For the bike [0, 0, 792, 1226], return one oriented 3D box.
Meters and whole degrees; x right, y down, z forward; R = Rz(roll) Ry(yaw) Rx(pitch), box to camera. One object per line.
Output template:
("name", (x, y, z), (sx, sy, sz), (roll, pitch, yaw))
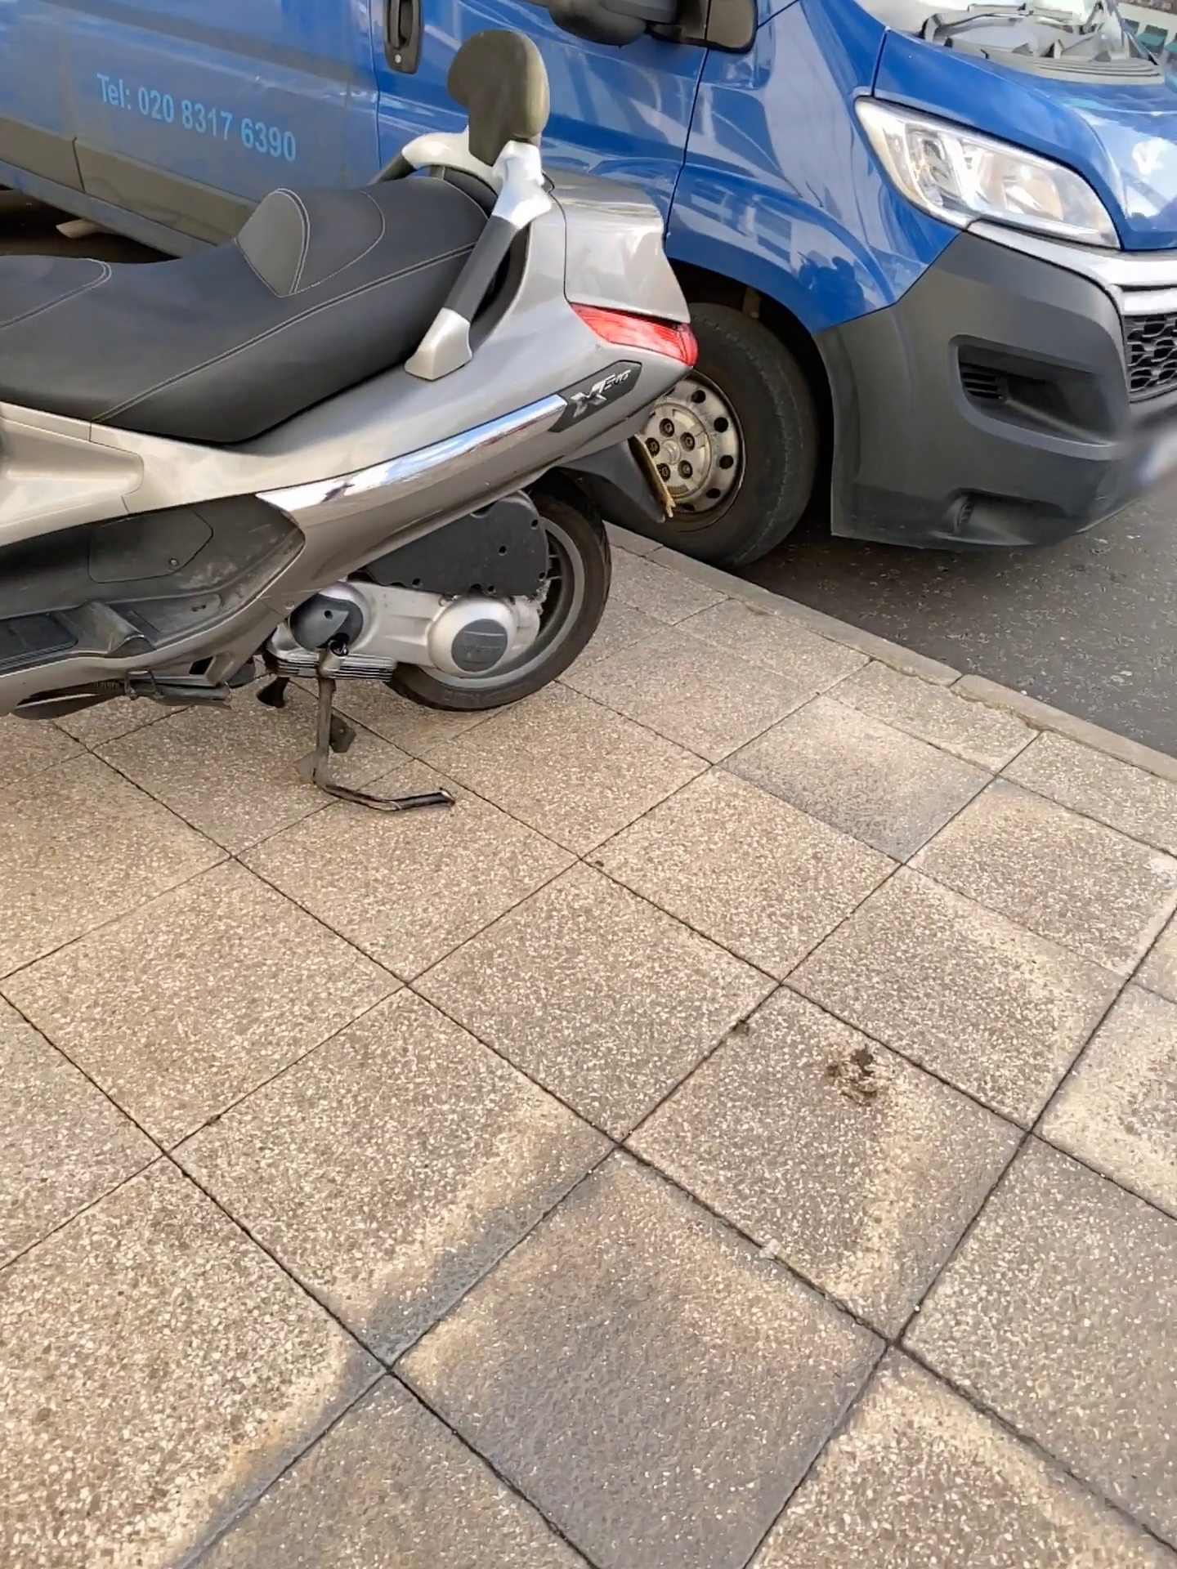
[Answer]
("bike", (-0.667, -0.408, 1.428), (1.657, 1.062, 0.657), (-16, 41, -28))
